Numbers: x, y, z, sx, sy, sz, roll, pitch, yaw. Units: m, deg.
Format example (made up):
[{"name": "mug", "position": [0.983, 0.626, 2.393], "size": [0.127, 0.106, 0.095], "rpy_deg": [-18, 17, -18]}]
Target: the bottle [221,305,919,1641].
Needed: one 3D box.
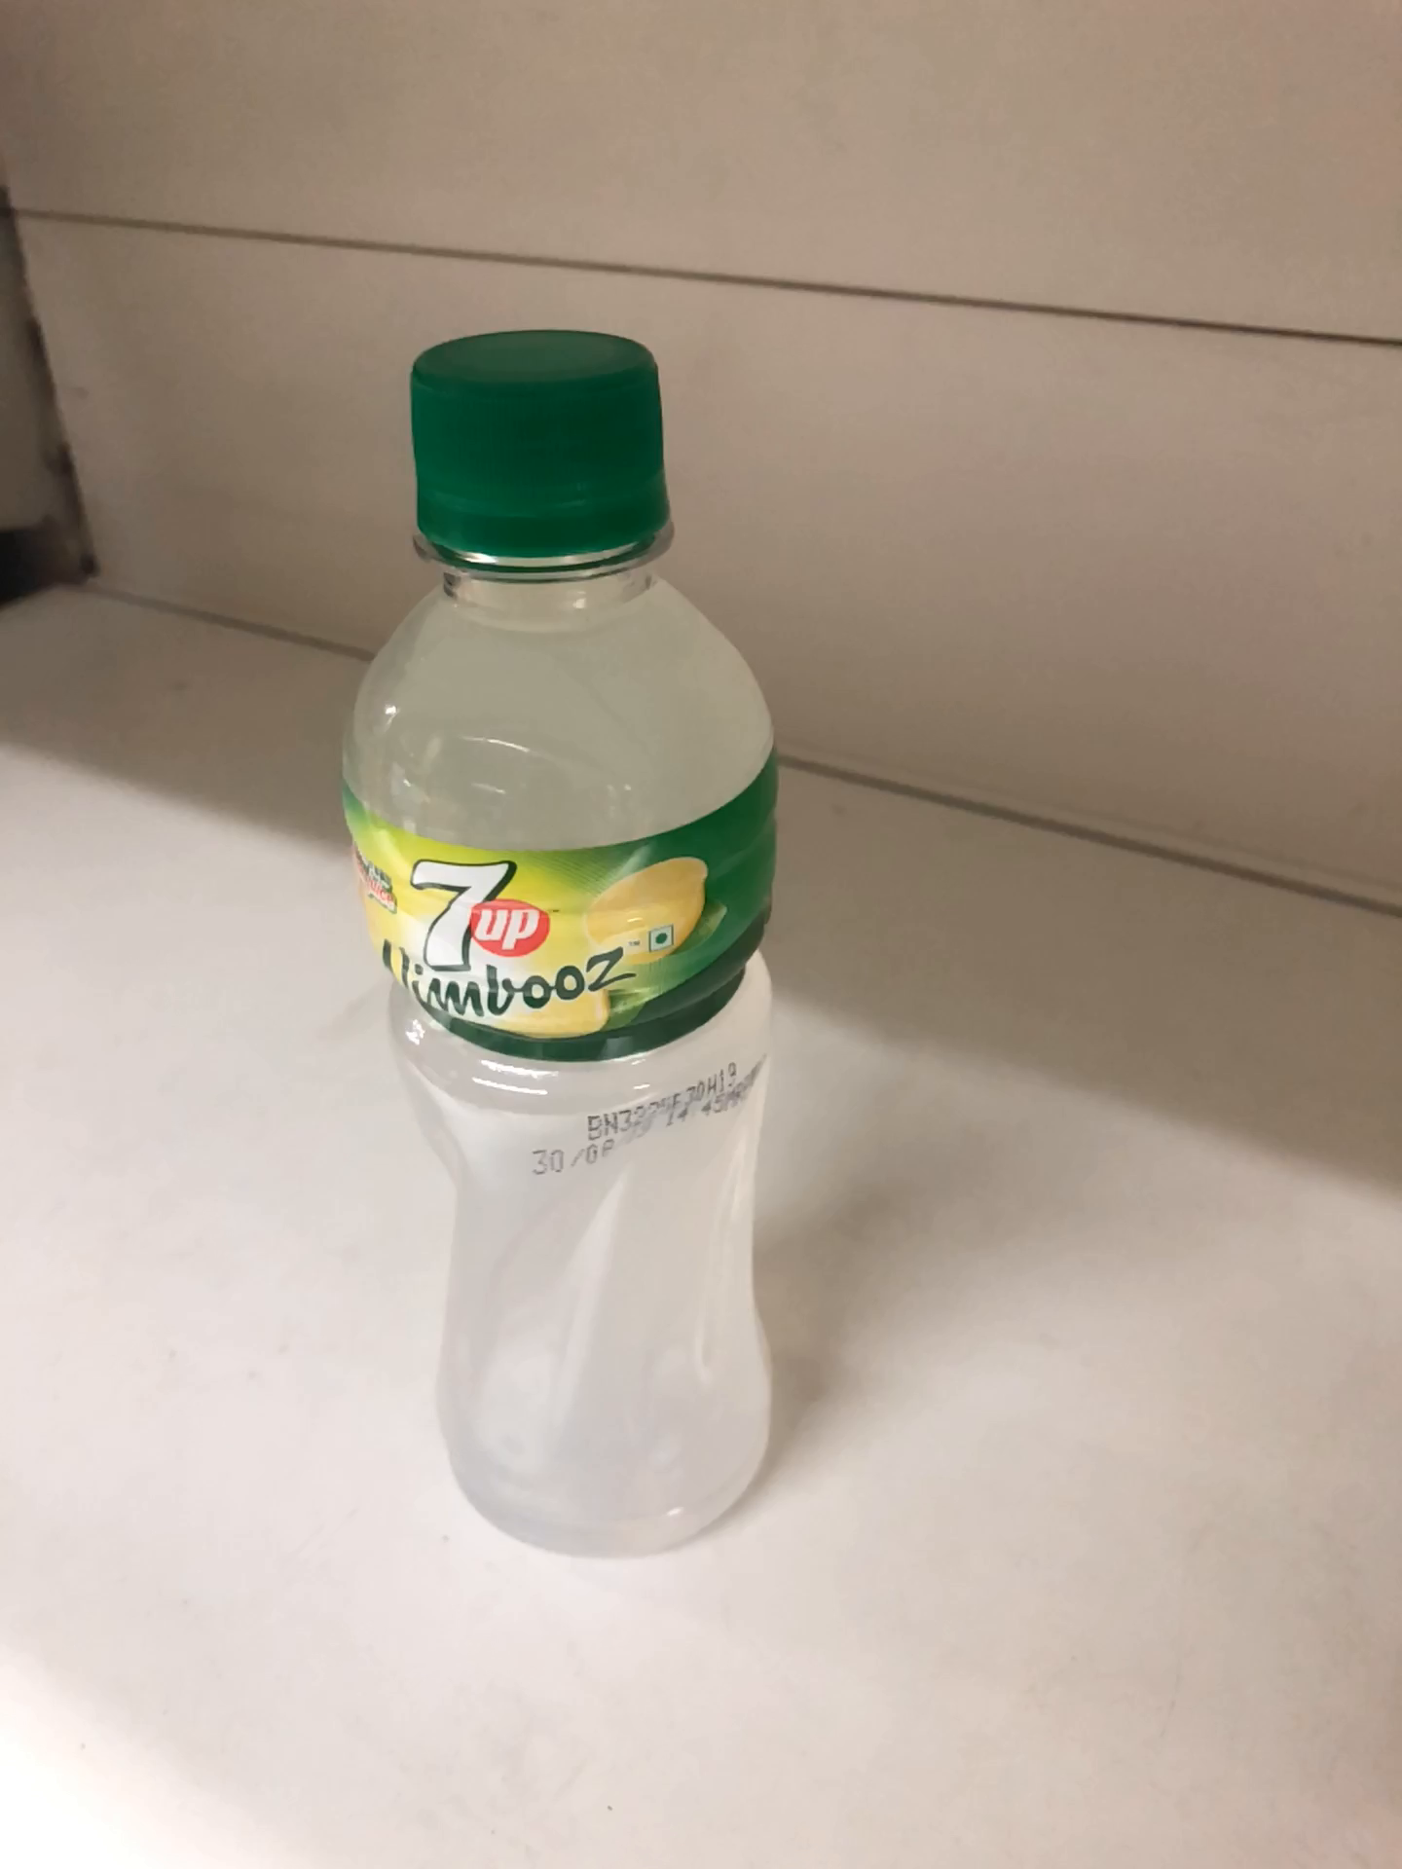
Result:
[{"name": "bottle", "position": [-0.014, 0.013, 0.249], "size": [0.070, 0.199, 0.060], "rpy_deg": [10, 32, 17]}]
